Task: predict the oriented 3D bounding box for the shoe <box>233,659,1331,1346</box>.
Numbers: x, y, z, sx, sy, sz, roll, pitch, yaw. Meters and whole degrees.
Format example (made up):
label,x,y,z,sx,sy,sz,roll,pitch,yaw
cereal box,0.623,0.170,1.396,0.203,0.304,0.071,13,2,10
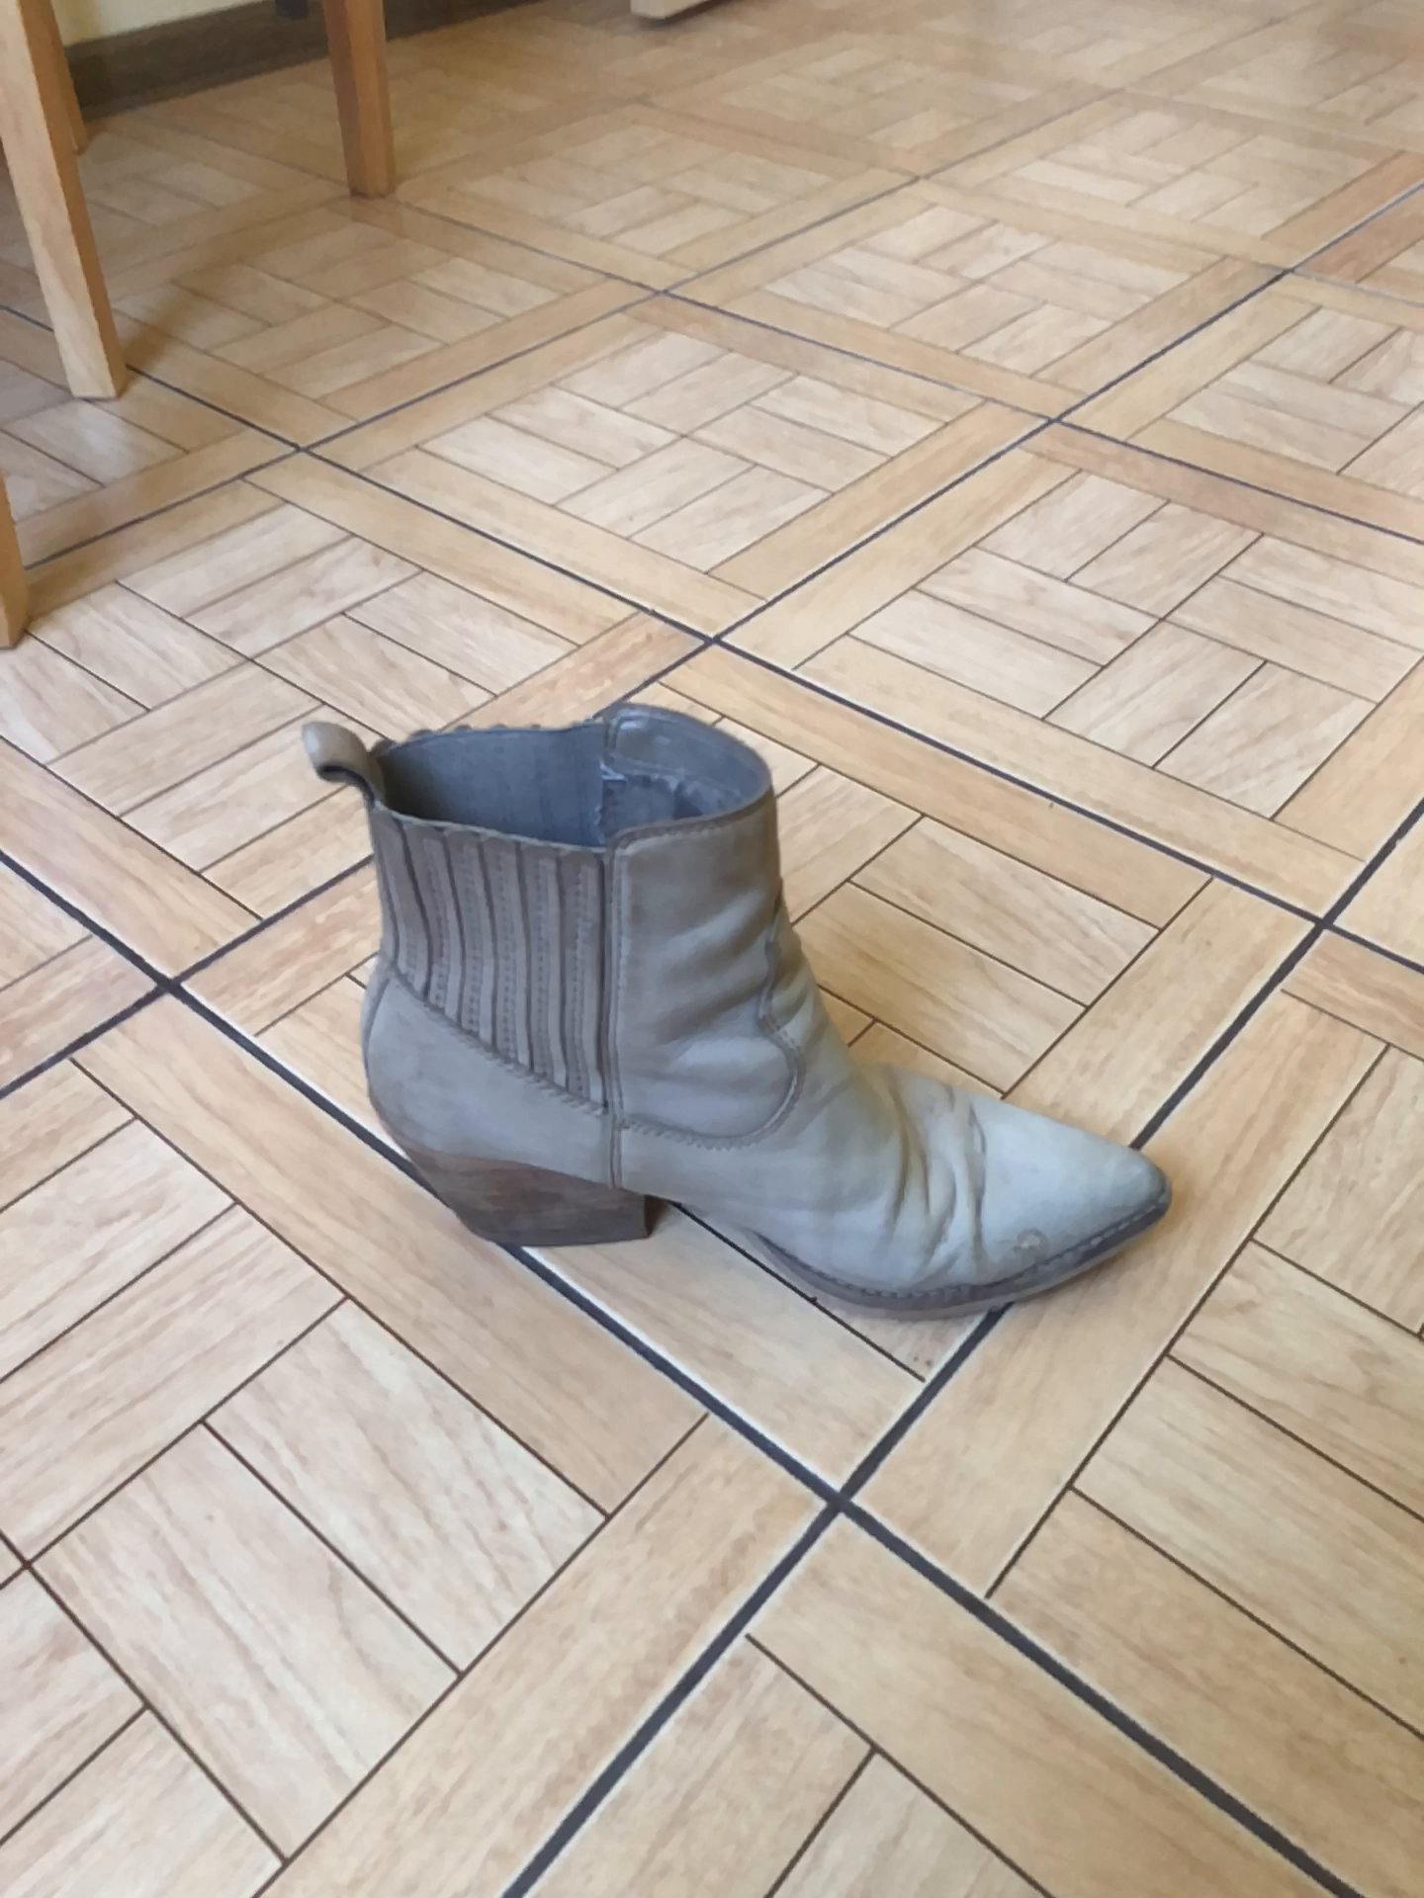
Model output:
label,x,y,z,sx,sy,sz,roll,pitch,yaw
shoe,0.017,0.021,0.465,0.260,0.179,0.090,3,43,2
